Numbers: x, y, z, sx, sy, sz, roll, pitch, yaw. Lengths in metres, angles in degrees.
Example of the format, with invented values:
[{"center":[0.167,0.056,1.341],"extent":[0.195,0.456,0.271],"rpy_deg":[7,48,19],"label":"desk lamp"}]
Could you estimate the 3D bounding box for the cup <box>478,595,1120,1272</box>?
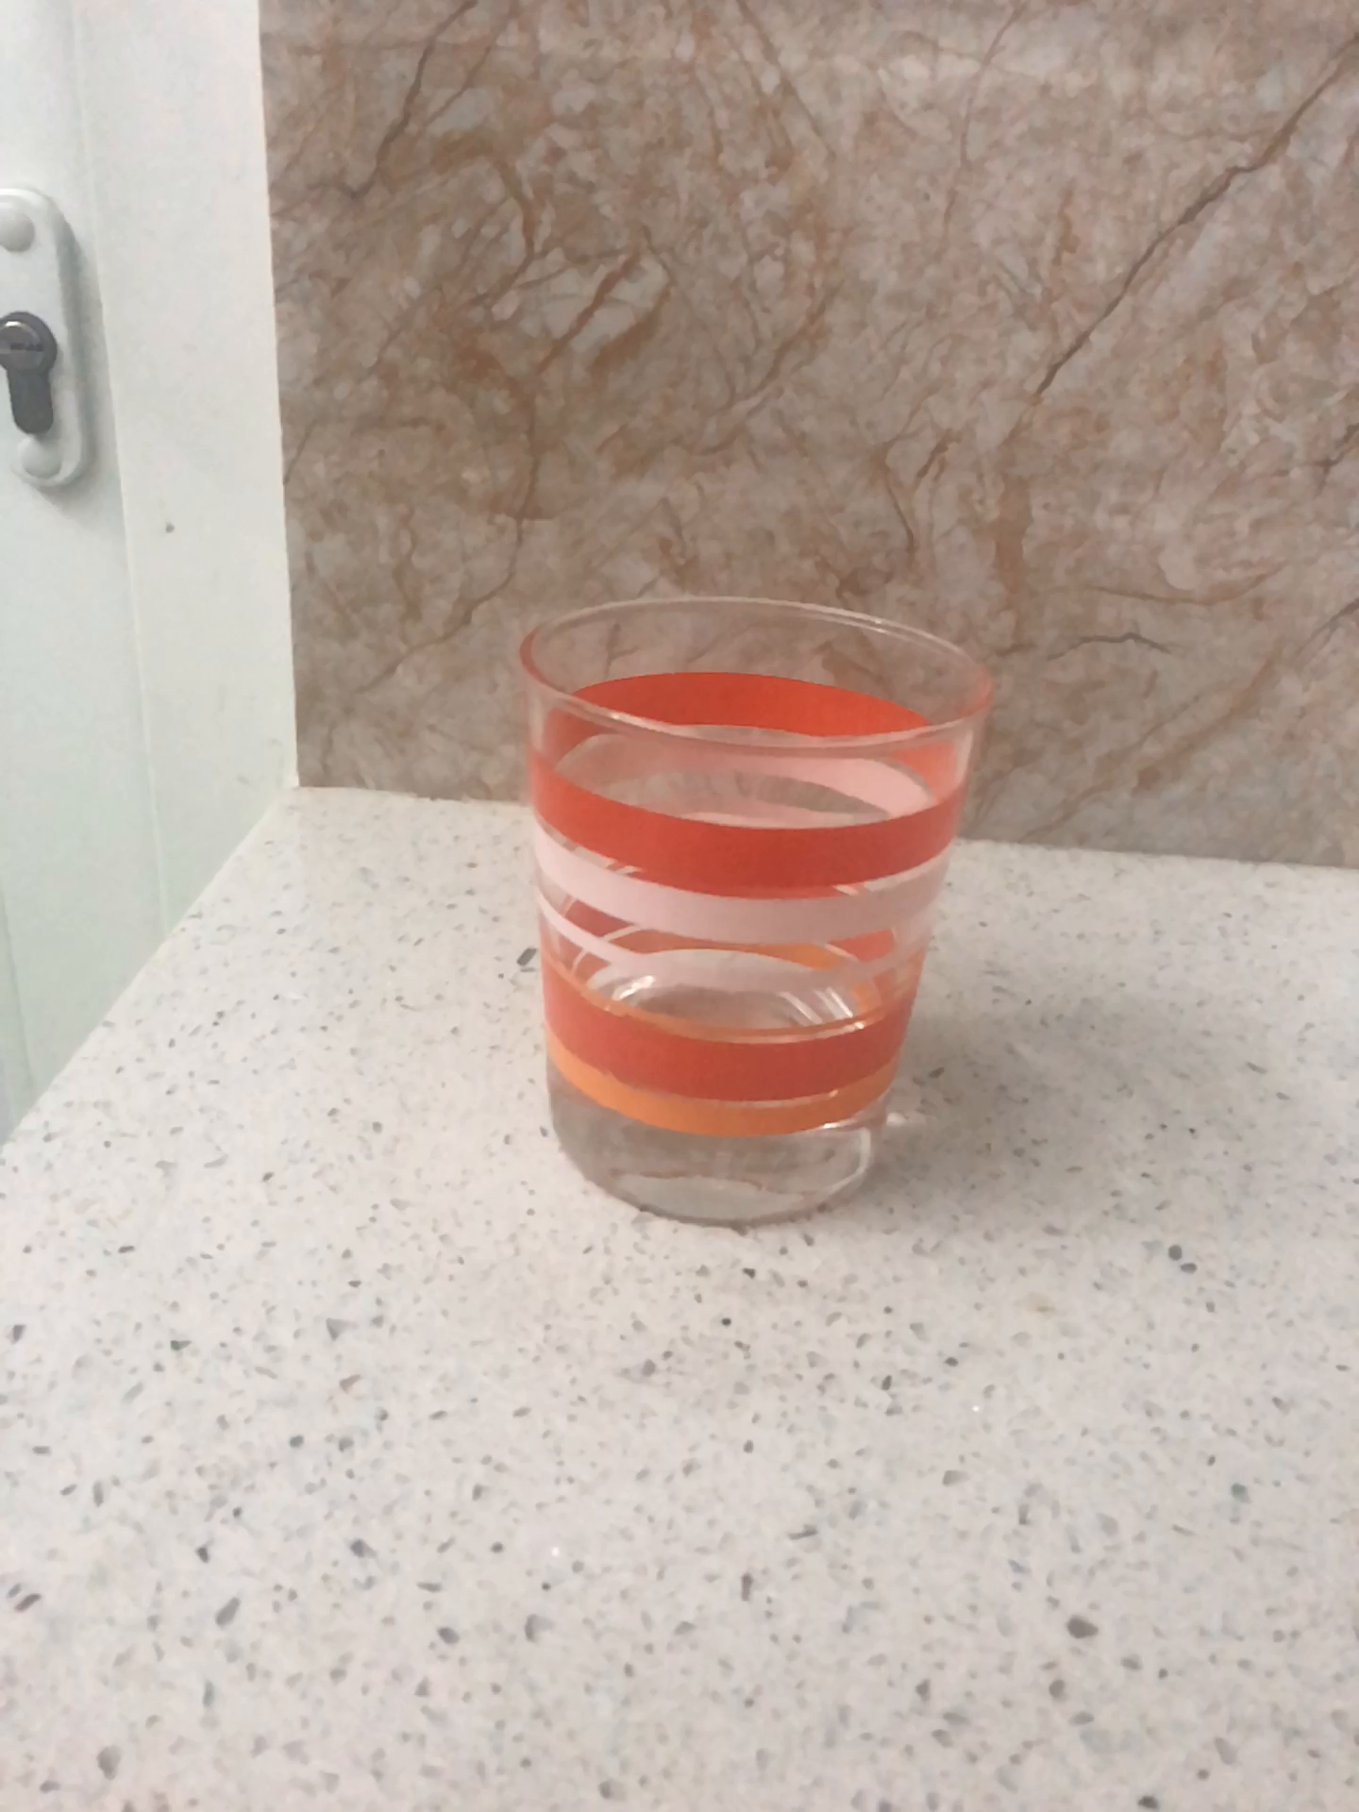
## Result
[{"center":[0.012,0.002,0.264],"extent":[0.090,0.090,0.080],"rpy_deg":[1,26,-5],"label":"cup"}]
